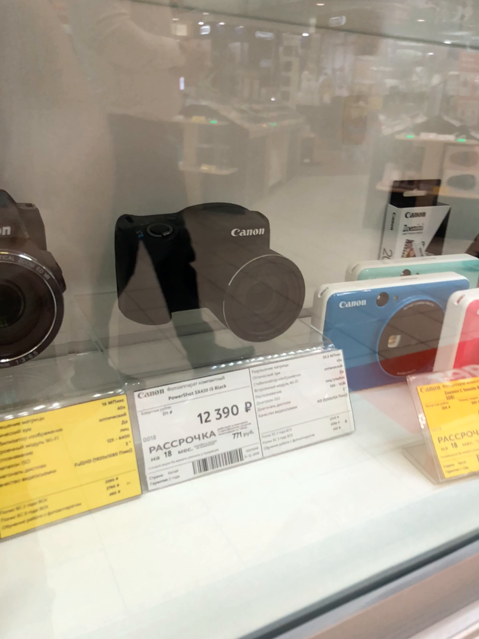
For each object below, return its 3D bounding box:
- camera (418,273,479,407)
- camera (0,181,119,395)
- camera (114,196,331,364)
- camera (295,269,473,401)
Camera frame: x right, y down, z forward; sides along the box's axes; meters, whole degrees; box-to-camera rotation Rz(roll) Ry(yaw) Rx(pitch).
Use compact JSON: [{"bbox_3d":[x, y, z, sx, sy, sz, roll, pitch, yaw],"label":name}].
[{"bbox_3d":[0.187,0.012,0.366,0.118,0.073,0.028,-7,25,-23],"label":"camera"},{"bbox_3d":[-0.124,-0.025,0.270,0.100,0.073,0.093,-8,25,-25],"label":"camera"},{"bbox_3d":[-0.016,-0.032,0.329,0.100,0.070,0.093,-8,25,-25],"label":"camera"},{"bbox_3d":[0.101,0.008,0.371,0.118,0.073,0.028,-7,25,-23],"label":"camera"}]
